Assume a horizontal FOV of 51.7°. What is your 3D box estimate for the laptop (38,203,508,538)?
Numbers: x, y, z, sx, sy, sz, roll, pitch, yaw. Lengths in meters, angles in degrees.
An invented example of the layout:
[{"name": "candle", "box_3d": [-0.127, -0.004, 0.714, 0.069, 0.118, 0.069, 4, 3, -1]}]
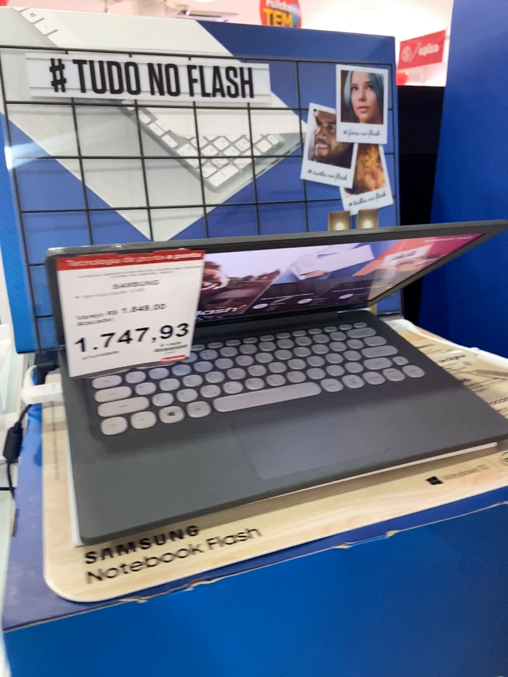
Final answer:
[{"name": "laptop", "box_3d": [0.015, -0.013, 0.415, 0.323, 0.114, 0.211, -8, 29, -20]}]
